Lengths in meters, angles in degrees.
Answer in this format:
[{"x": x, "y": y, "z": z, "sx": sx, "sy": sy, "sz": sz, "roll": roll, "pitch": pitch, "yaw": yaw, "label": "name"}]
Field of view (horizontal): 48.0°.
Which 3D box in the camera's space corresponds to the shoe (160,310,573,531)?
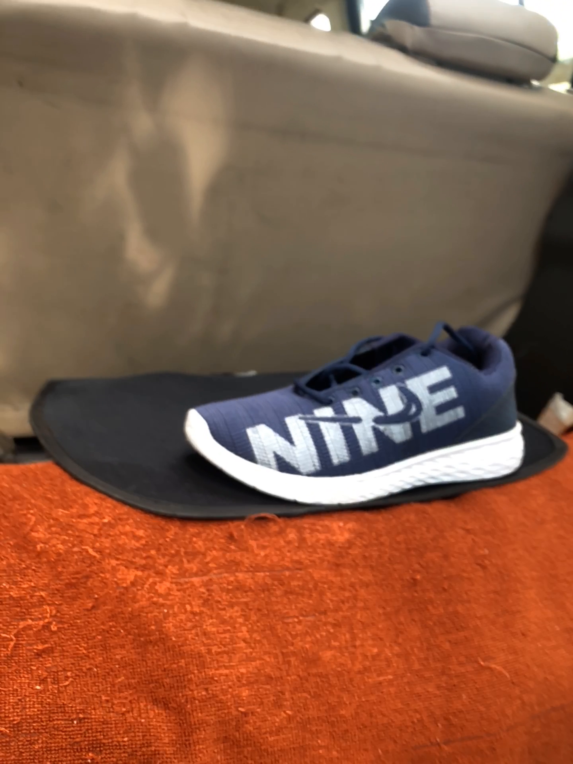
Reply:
[{"x": 0.065, "y": 0.012, "z": 0.469, "sx": 0.291, "sy": 0.100, "sz": 0.130, "roll": -3, "pitch": 18, "yaw": -20, "label": "shoe"}]
